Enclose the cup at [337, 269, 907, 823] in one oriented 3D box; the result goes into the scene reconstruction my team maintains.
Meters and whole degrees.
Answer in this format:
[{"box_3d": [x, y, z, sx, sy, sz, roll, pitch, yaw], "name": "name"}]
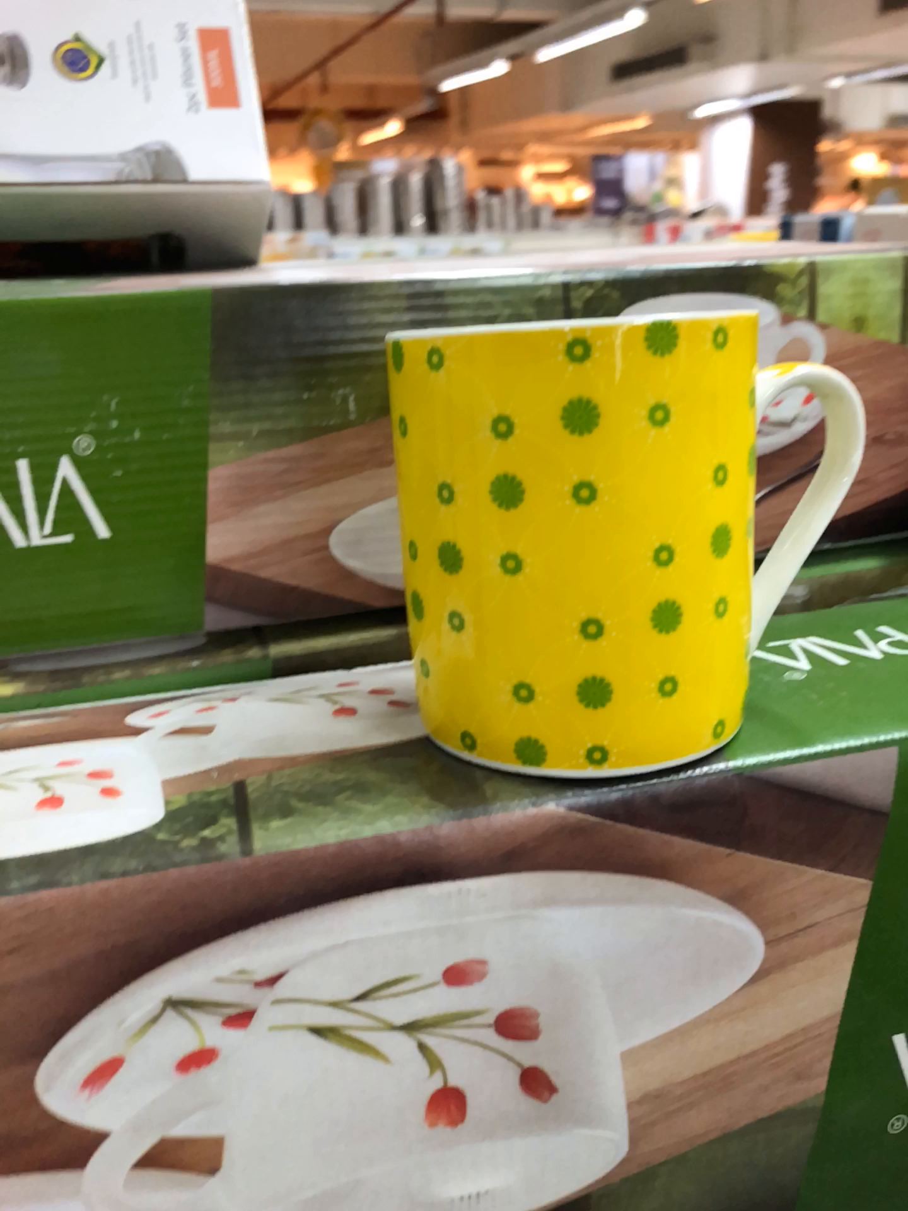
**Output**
[{"box_3d": [0.040, -0.020, 0.224, 0.110, 0.090, 0.080, -8, 14, -15], "name": "cup"}]
